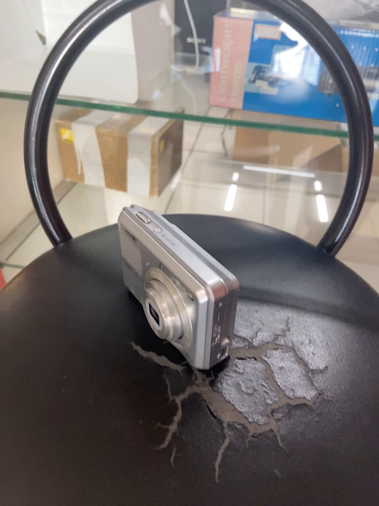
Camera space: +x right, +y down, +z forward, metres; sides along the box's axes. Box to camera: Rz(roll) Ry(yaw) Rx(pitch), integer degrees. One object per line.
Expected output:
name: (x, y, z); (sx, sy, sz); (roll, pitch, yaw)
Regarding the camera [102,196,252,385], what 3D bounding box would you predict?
camera: (-0.011, 0.016, 0.216); (0.035, 0.057, 0.083); (-22, 43, -29)
